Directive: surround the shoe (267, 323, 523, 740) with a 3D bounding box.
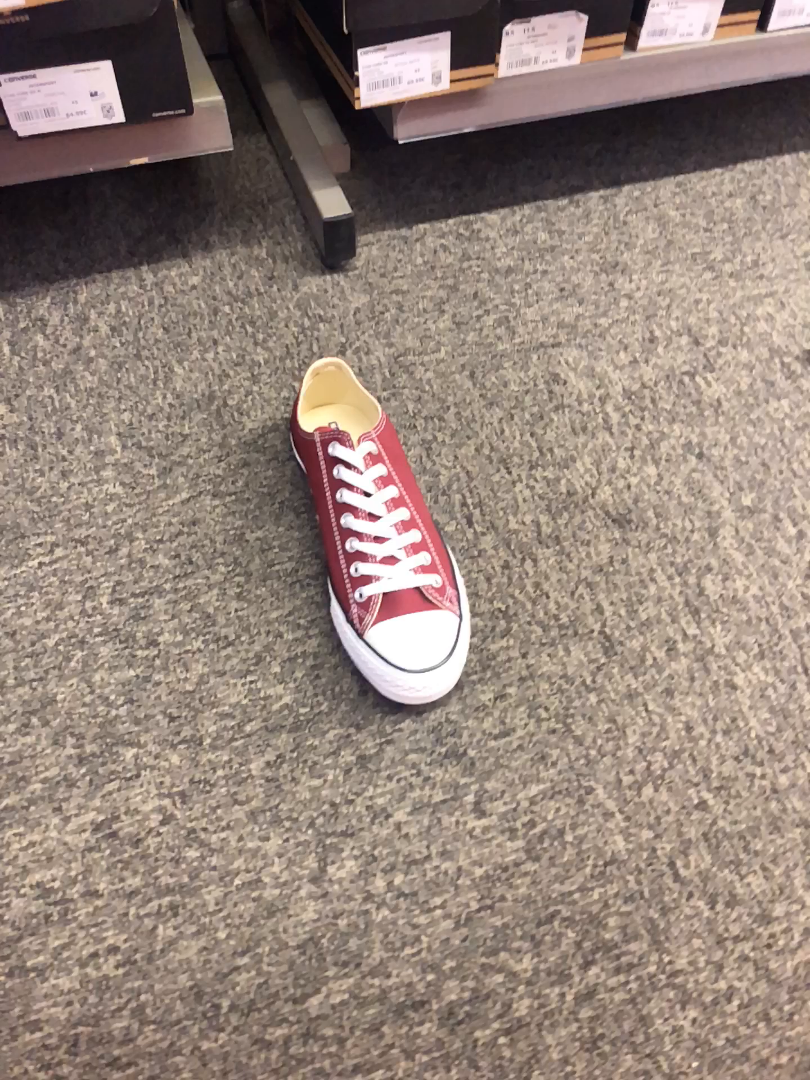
[{"bbox_3d":[-0.017,-0.017,0.632,0.100,0.090,0.281,-12,58,-10],"label":"shoe"}]
